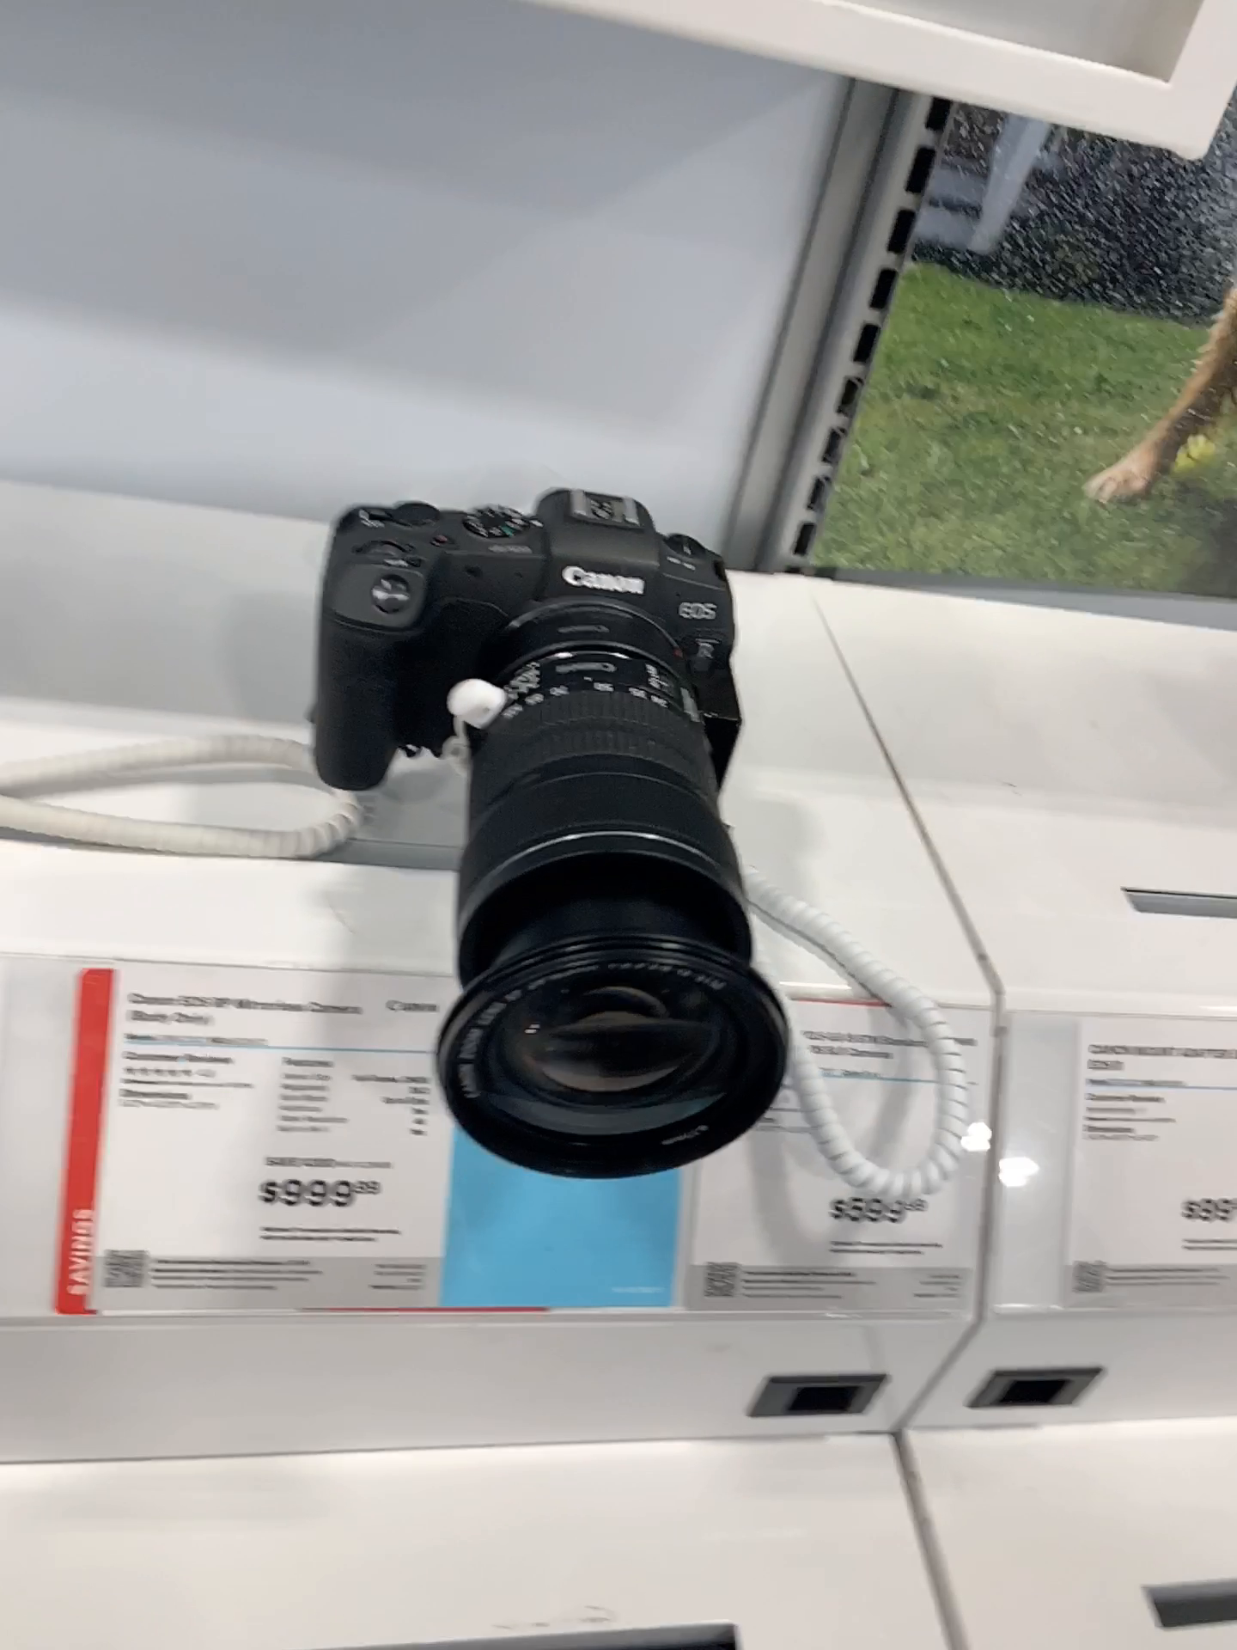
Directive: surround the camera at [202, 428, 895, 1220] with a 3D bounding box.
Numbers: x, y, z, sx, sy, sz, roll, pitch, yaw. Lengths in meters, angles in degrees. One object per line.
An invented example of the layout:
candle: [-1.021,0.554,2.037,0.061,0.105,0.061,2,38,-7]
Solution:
camera: [-0.026,-0.011,0.347,0.132,0.100,0.200,6,39,-10]
